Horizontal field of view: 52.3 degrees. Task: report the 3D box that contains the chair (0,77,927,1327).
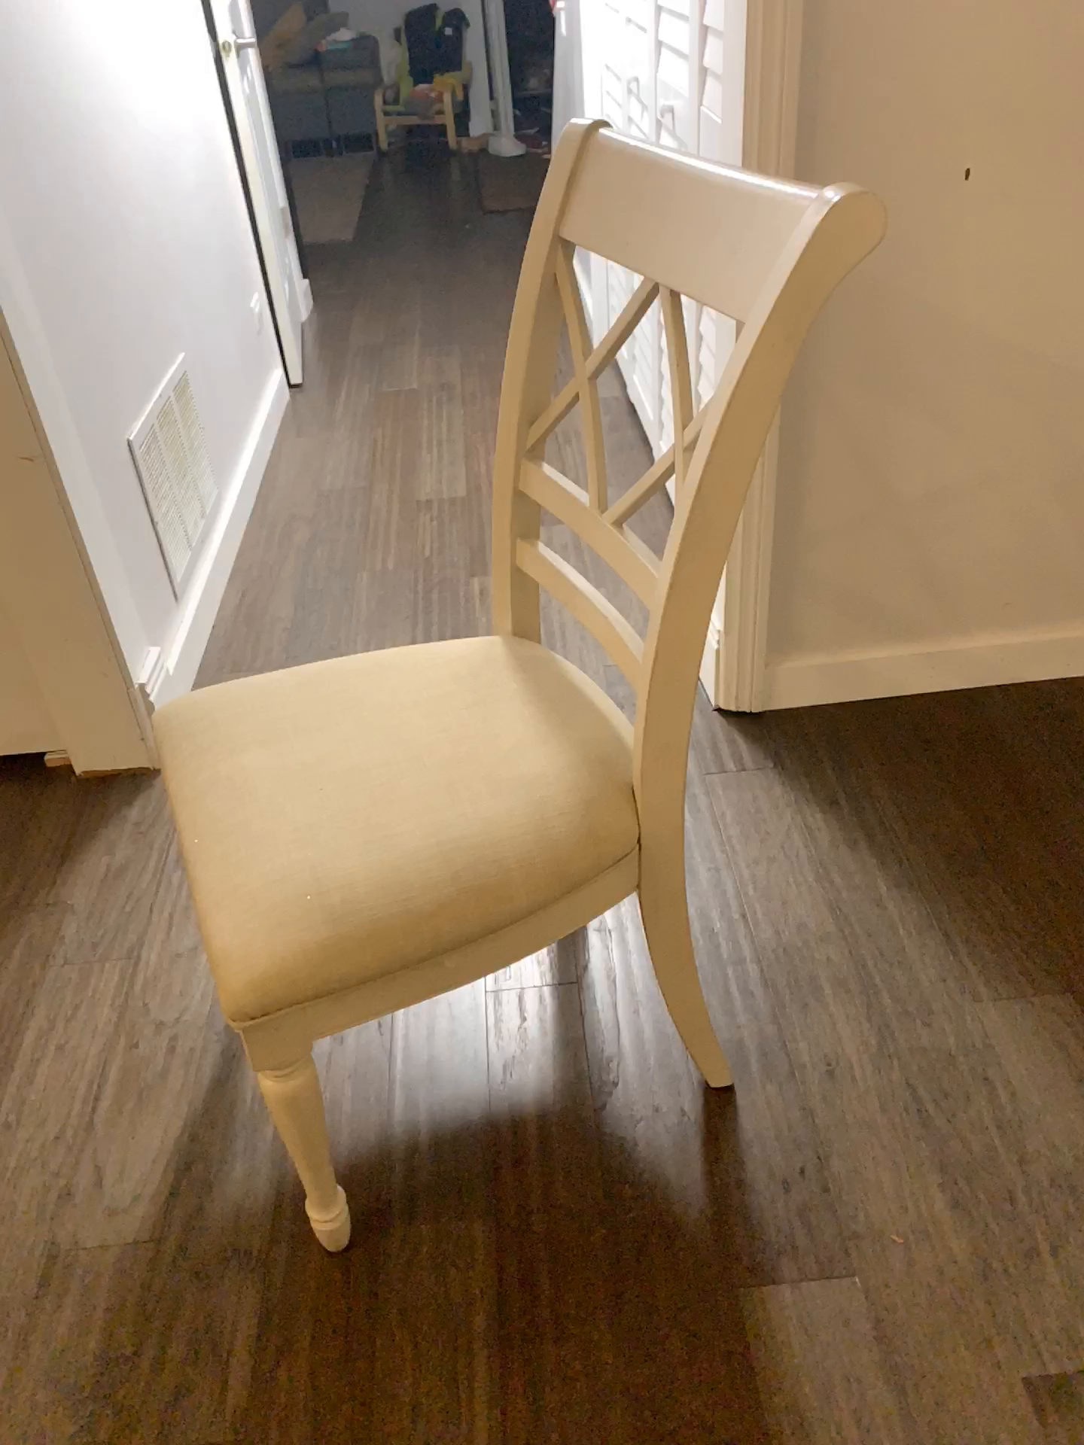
[{"bbox_3d":[-0.114,-0.028,1.132,0.610,0.994,0.584,-18,38,-17],"label":"chair"}]
